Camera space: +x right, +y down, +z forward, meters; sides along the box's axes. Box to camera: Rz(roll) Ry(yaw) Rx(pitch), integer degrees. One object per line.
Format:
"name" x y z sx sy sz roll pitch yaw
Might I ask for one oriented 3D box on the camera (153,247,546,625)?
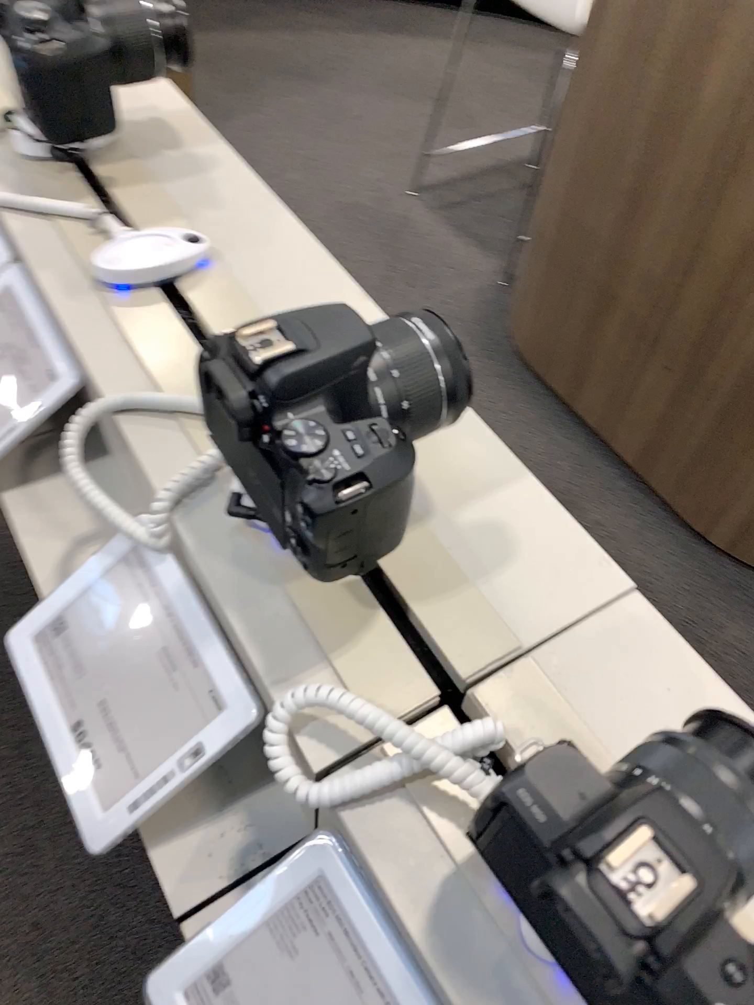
"camera" -0.016 -0.038 0.387 0.135 0.089 0.122 -28 59 -24

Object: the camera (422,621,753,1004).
"camera" 0.099 0.131 0.269 0.111 0.088 0.112 -28 59 -24

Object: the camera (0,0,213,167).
"camera" -0.231 -0.364 0.617 0.145 0.101 0.134 -23 58 -21
